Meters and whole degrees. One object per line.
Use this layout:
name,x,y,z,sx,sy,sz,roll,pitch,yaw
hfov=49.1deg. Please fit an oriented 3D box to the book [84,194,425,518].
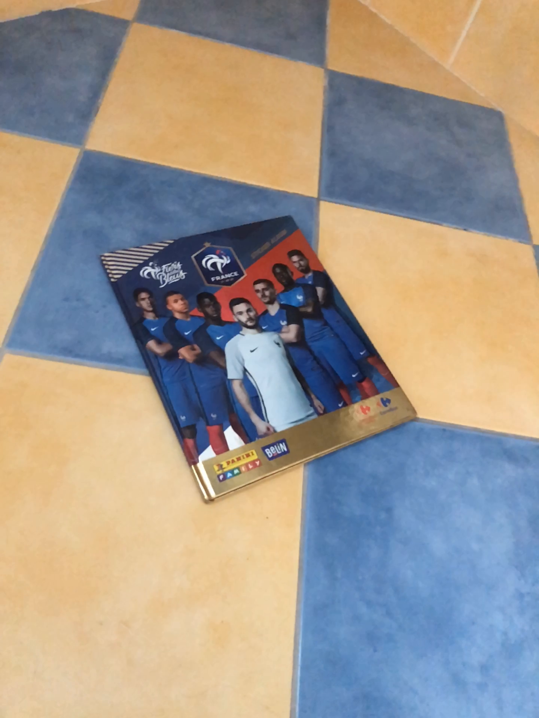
book,-0.023,-0.031,0.618,0.241,0.030,0.320,-18,64,-23
